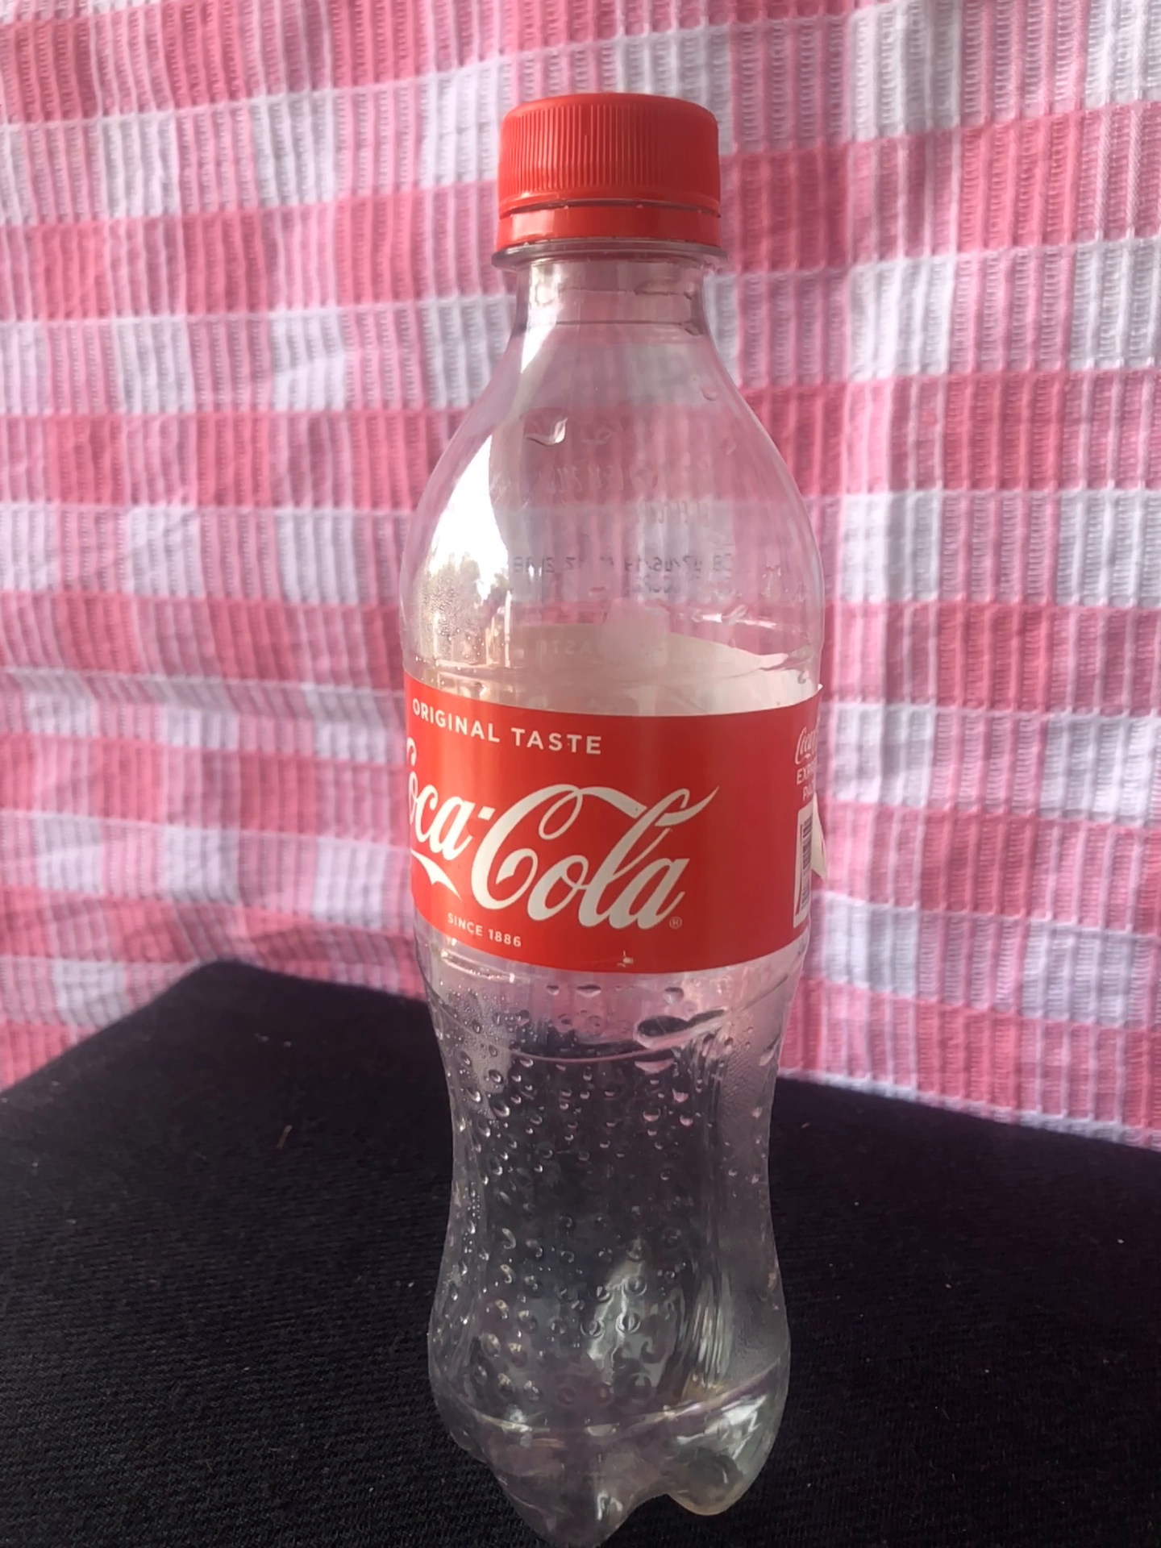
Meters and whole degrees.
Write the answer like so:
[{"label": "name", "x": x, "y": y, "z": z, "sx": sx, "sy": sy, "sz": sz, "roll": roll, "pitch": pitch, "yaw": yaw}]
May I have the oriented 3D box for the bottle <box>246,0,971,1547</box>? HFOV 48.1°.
[{"label": "bottle", "x": 0.002, "y": 0.010, "z": 0.180, "sx": 0.060, "sy": 0.189, "sz": 0.060, "roll": 0, "pitch": 17, "yaw": 0}]
